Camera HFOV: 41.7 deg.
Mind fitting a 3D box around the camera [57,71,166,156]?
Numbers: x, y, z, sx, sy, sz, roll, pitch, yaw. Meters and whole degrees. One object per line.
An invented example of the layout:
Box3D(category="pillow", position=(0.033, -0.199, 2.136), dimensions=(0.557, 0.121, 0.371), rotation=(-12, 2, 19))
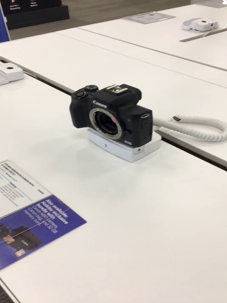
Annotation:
Box3D(category="camera", position=(-0.005, -0.057, 0.419), dimensions=(0.126, 0.075, 0.059), rotation=(30, 53, 31))
